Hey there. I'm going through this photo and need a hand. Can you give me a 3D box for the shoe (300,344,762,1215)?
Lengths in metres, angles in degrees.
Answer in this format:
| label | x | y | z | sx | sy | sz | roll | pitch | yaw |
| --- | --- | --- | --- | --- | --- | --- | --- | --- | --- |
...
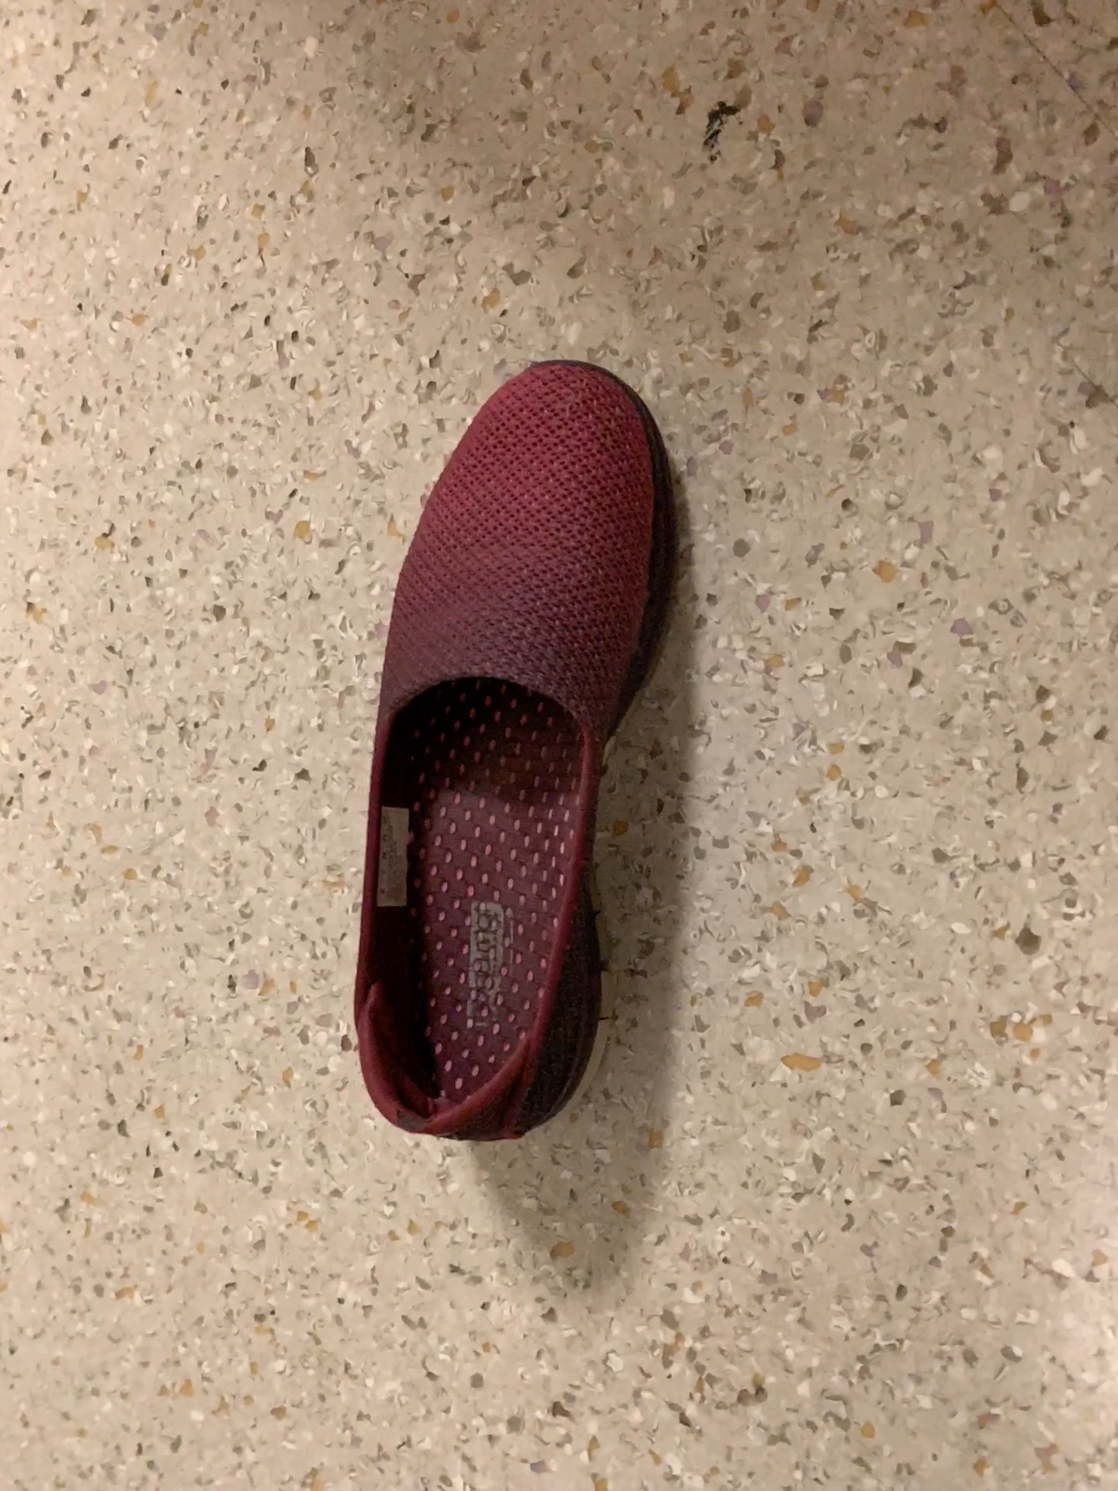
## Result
| label | x | y | z | sx | sy | sz | roll | pitch | yaw |
| --- | --- | --- | --- | --- | --- | --- | --- | --- | --- |
| shoe | -0.005 | 0.005 | 0.357 | 0.092 | 0.091 | 0.229 | 8 | 94 | 22 |
